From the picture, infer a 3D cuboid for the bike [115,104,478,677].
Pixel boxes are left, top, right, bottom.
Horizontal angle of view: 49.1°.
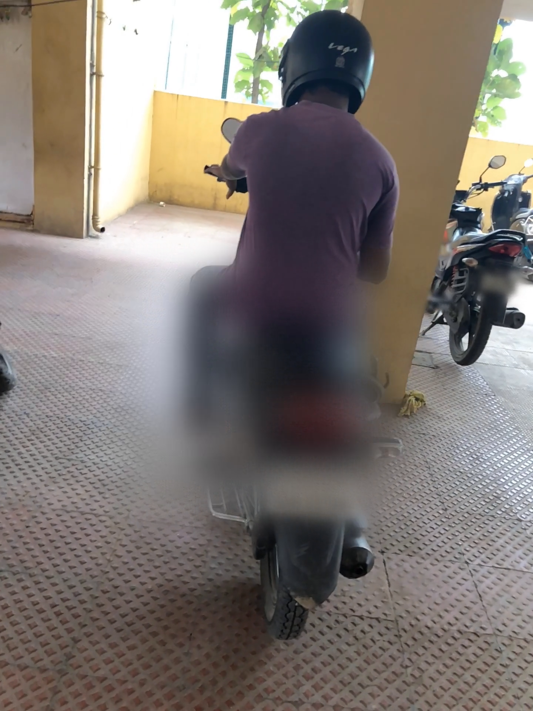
[{"bbox_3d":[0.081,-0.125,1.982,0.631,1.063,1.654,8,28,0],"label":"bike"}]
